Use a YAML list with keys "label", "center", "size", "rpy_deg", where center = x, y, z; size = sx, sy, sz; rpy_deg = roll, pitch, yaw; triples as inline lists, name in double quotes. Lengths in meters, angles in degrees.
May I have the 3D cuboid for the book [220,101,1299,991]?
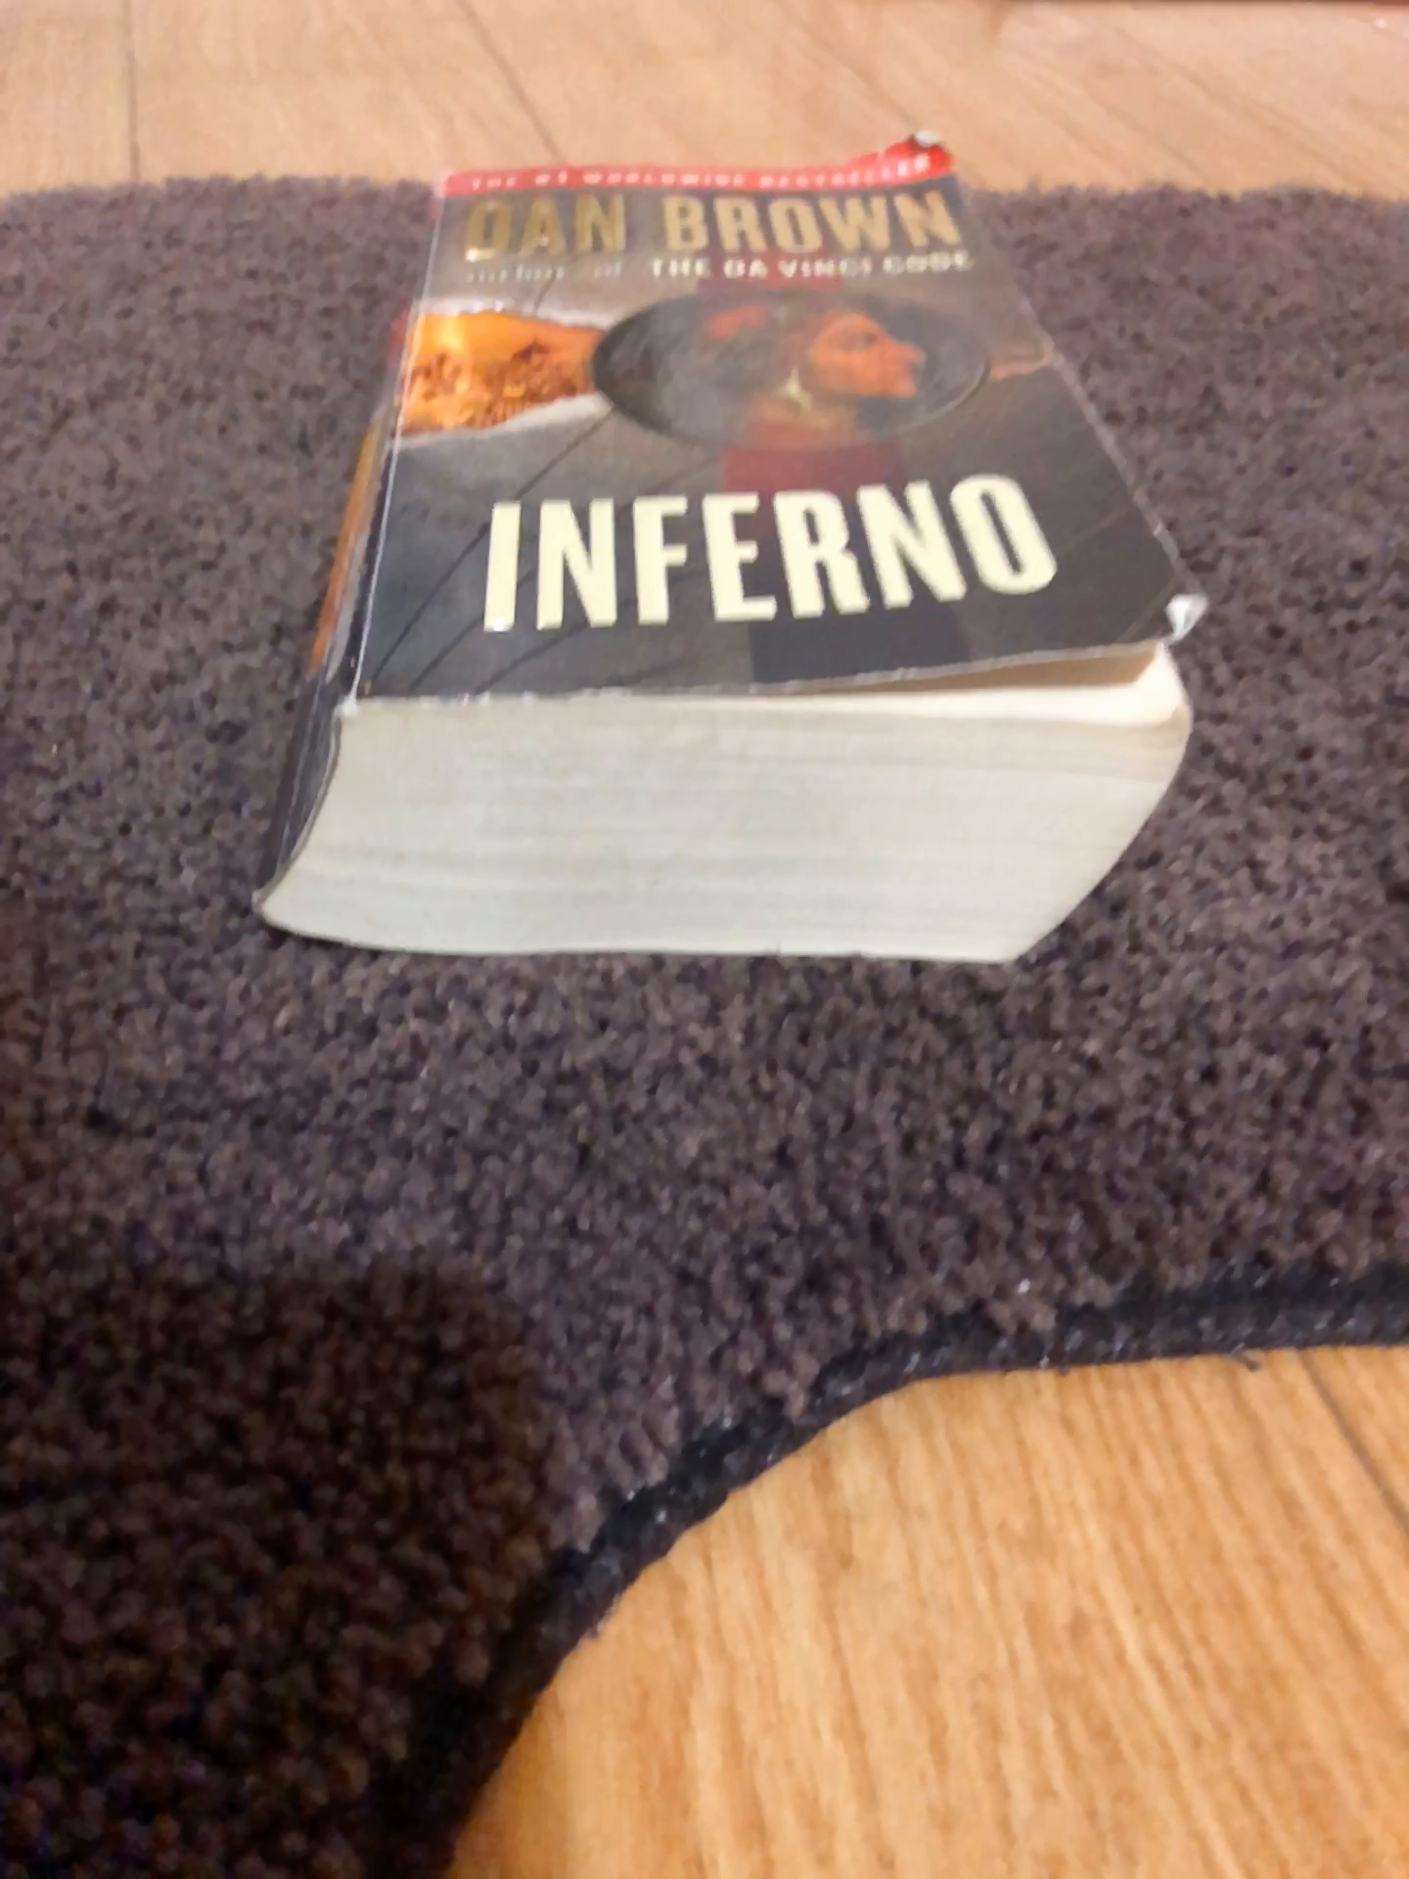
- label: "book"
  center: [0.000, -0.081, 0.265]
  size: [0.120, 0.050, 0.201]
  rpy_deg: [0, 43, -5]
